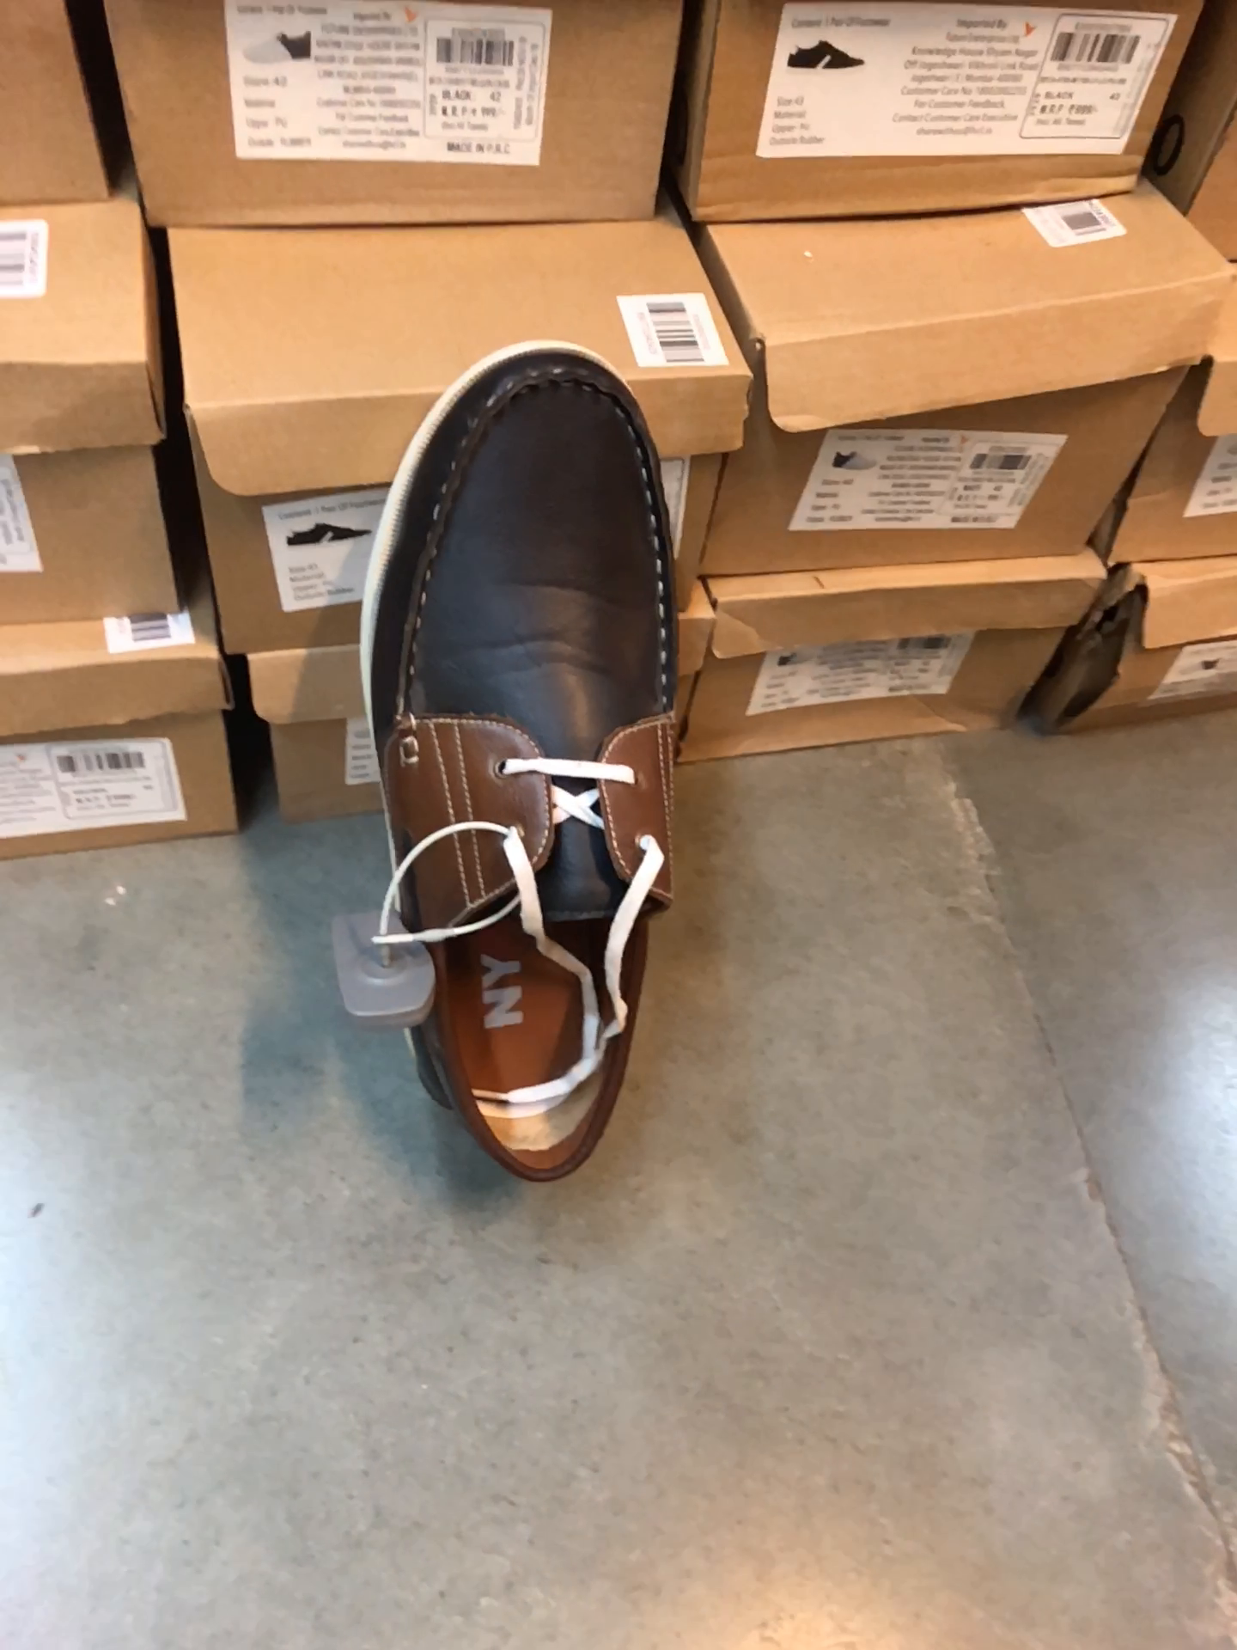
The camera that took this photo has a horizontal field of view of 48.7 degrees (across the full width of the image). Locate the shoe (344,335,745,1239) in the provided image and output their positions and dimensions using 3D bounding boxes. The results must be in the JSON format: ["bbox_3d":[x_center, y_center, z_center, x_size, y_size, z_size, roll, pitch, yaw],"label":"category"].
[{"bbox_3d":[-0.030,-0.015,0.437,0.102,0.264,0.099,-2,19,-12],"label":"shoe"}]
